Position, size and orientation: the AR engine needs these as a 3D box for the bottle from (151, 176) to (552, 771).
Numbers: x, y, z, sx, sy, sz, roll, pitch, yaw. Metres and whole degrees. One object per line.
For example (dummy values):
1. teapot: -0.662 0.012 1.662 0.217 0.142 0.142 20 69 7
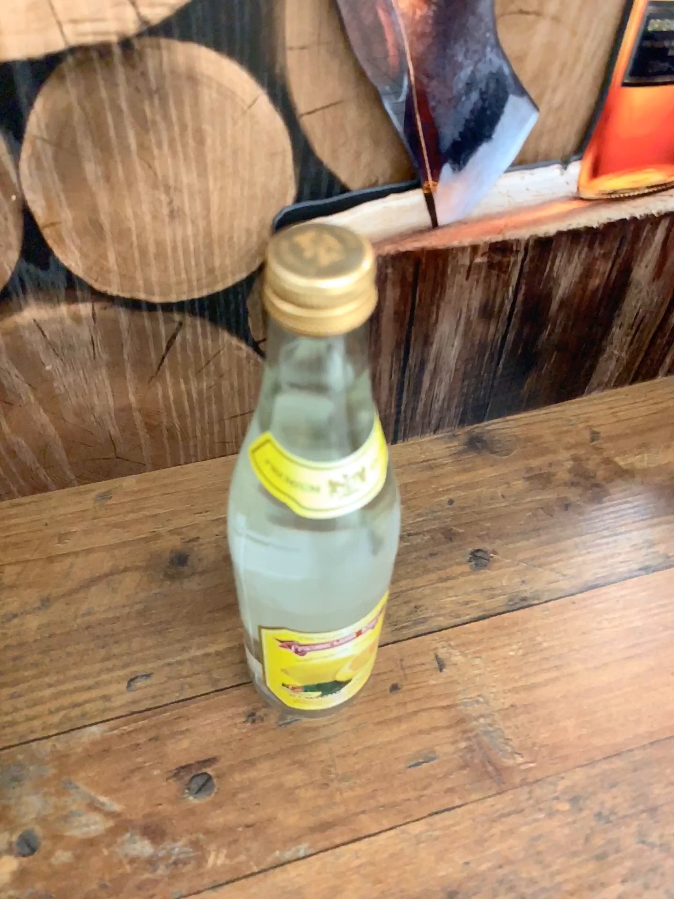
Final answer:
1. bottle: -0.005 0.032 0.233 0.070 0.219 0.070 1 50 -2

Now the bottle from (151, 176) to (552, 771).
1. bottle: -0.005 0.032 0.233 0.070 0.219 0.070 1 50 -2
